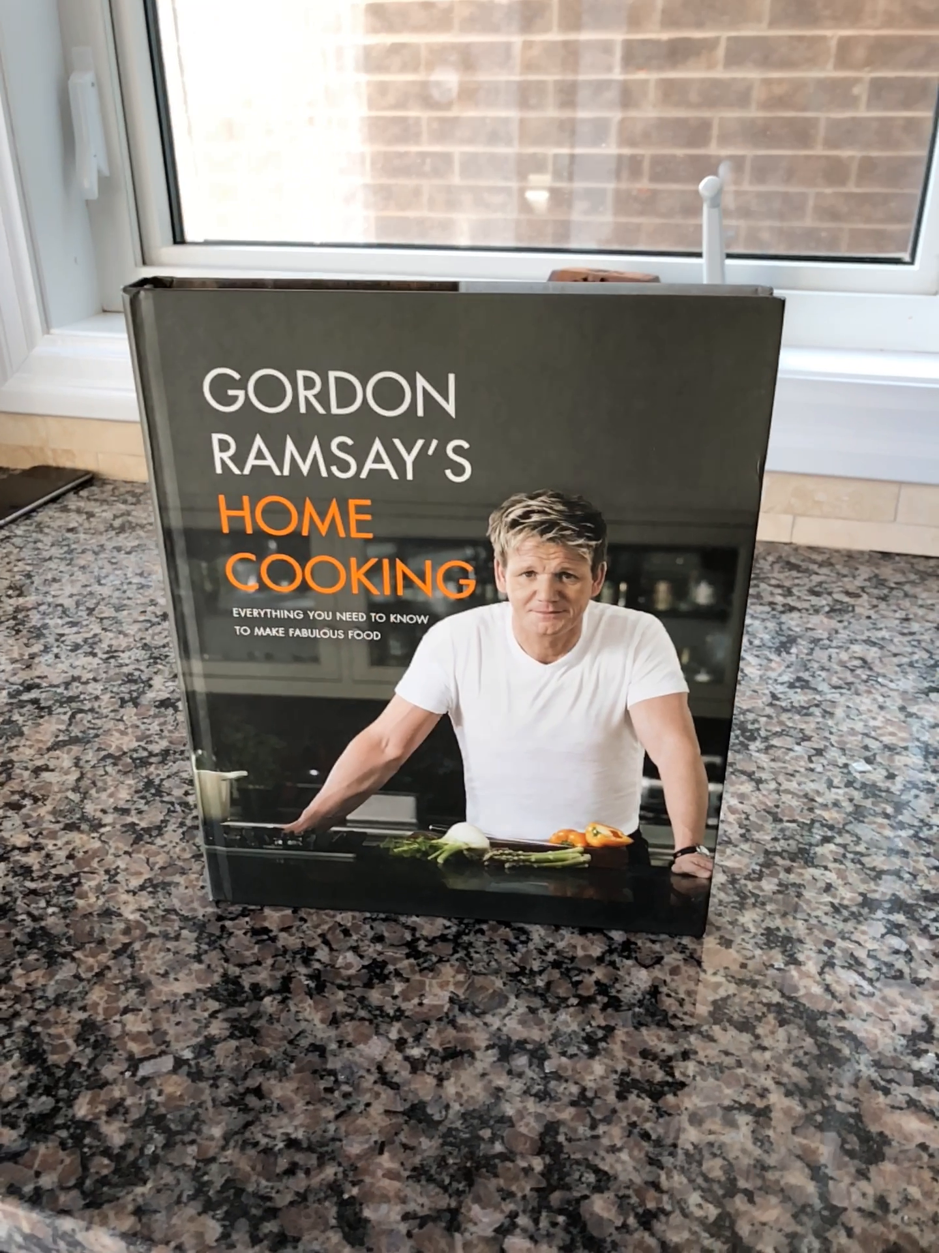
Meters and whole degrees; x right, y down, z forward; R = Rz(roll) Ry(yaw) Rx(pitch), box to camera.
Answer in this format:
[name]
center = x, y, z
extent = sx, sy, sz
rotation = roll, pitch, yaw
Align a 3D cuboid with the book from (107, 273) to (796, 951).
[book]
center = -0.007, 0.006, 0.395
extent = 0.217, 0.261, 0.028
rotation = 2, 26, 5
